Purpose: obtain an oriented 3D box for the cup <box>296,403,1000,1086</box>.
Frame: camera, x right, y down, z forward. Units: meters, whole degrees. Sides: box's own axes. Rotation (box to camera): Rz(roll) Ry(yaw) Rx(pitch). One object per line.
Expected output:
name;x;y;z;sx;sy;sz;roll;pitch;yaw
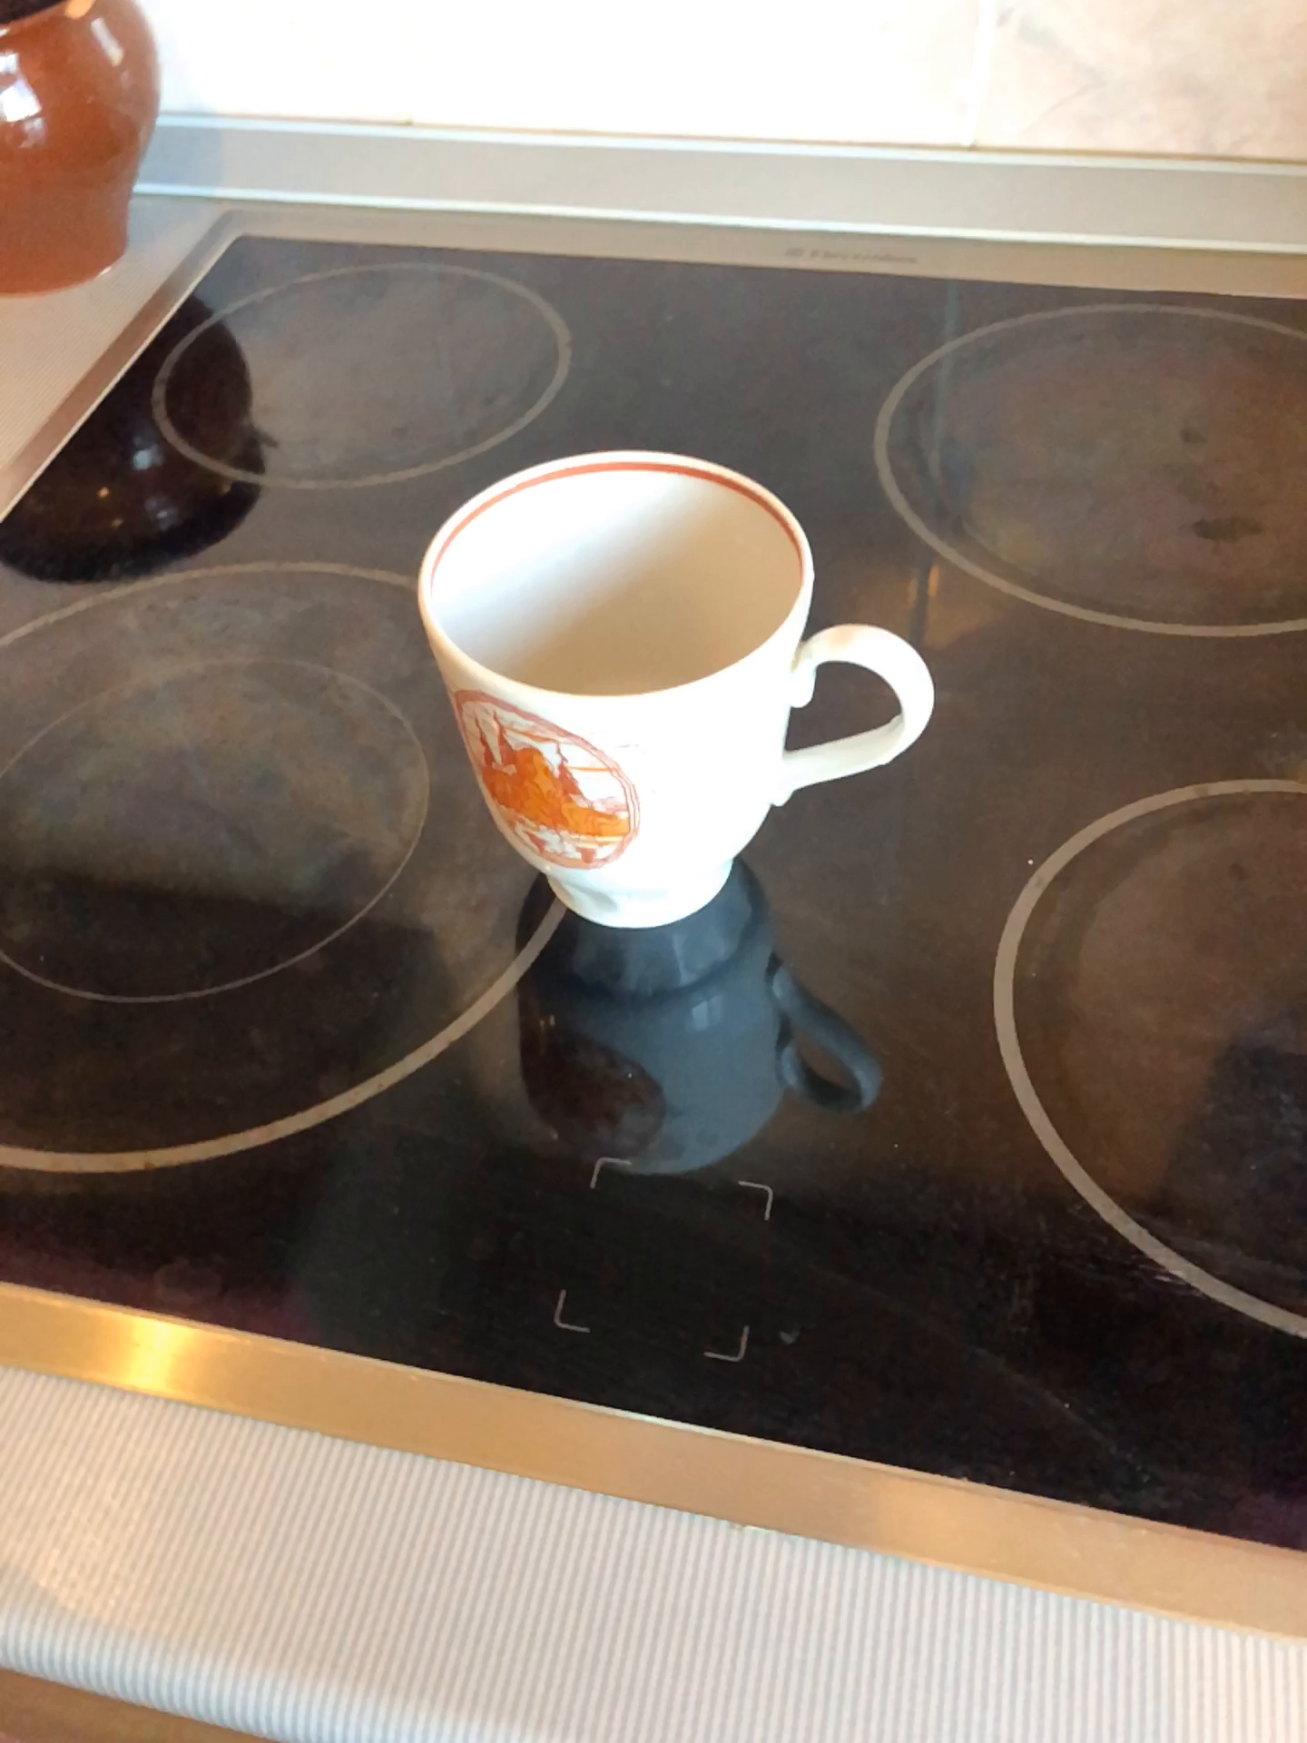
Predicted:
cup;0.001;-0.033;0.340;0.120;0.090;0.090;24;54;21
